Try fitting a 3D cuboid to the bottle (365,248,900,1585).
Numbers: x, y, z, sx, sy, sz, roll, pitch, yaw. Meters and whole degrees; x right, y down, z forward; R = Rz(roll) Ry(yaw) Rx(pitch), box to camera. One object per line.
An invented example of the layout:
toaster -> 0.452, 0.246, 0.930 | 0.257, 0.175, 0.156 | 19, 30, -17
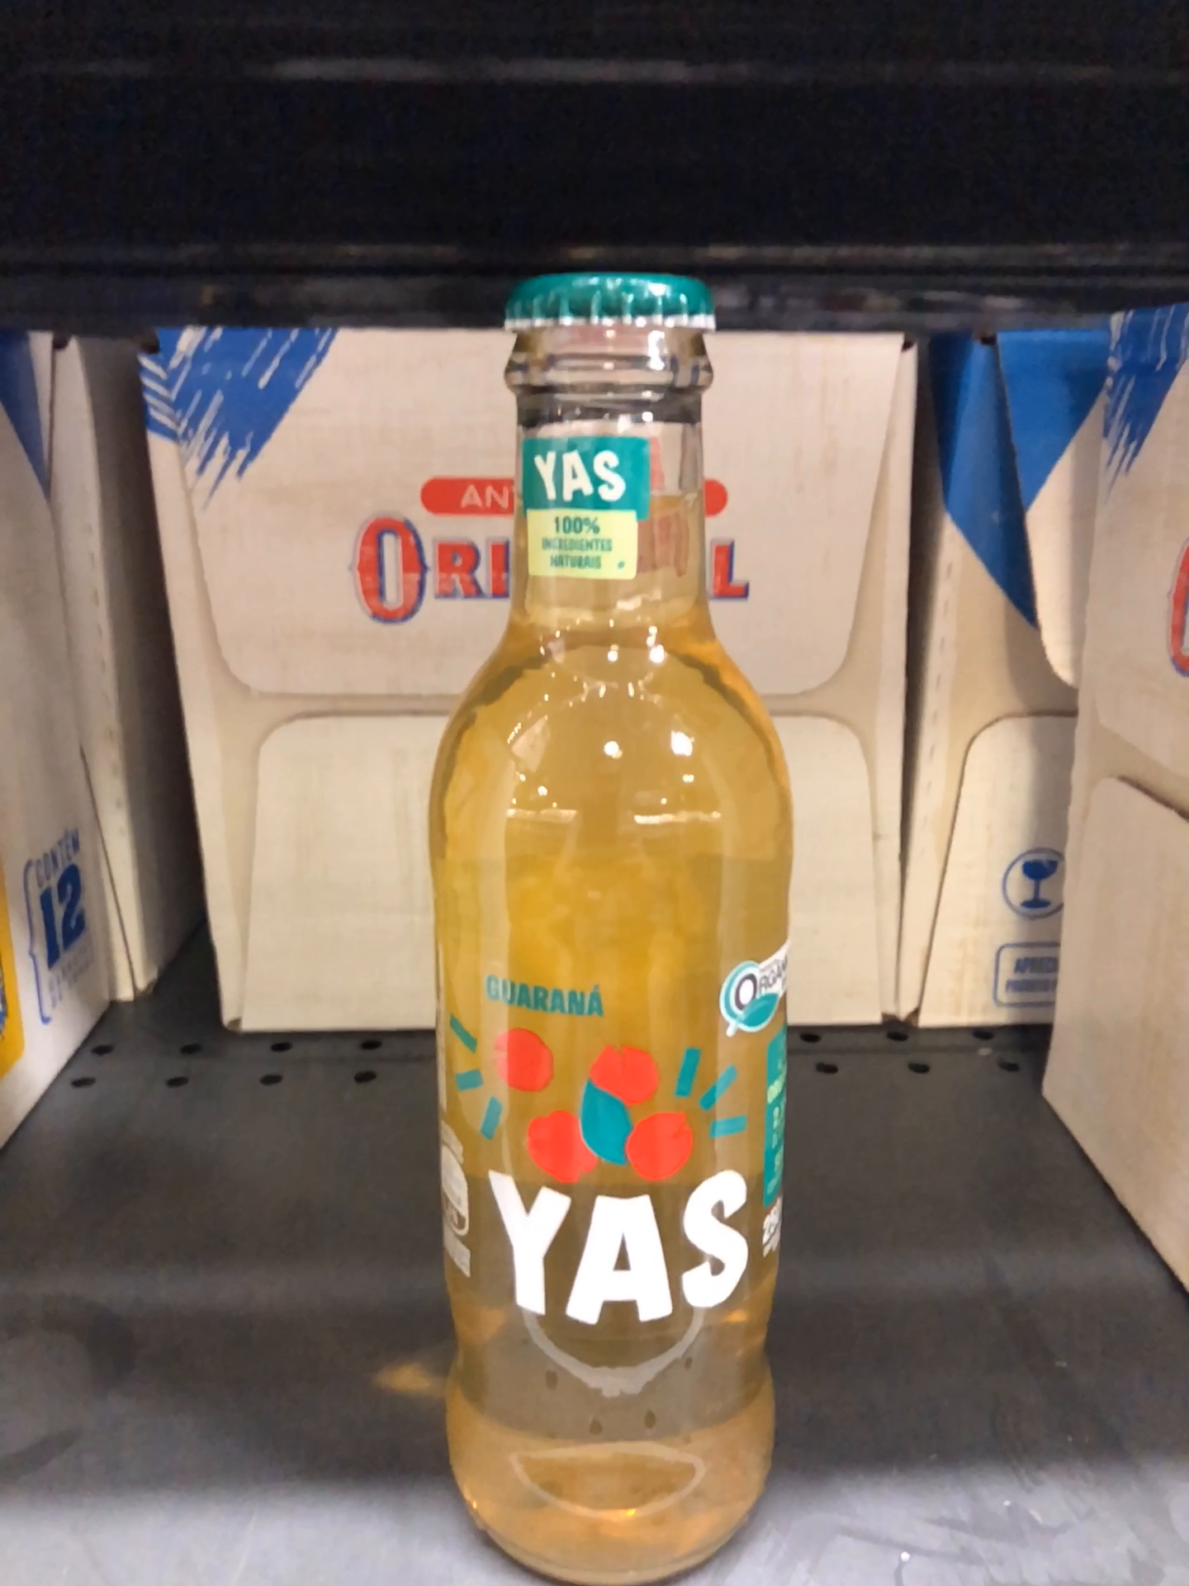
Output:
bottle -> 0.003, 0.025, 0.206 | 0.060, 0.199, 0.060 | 0, 17, 0
